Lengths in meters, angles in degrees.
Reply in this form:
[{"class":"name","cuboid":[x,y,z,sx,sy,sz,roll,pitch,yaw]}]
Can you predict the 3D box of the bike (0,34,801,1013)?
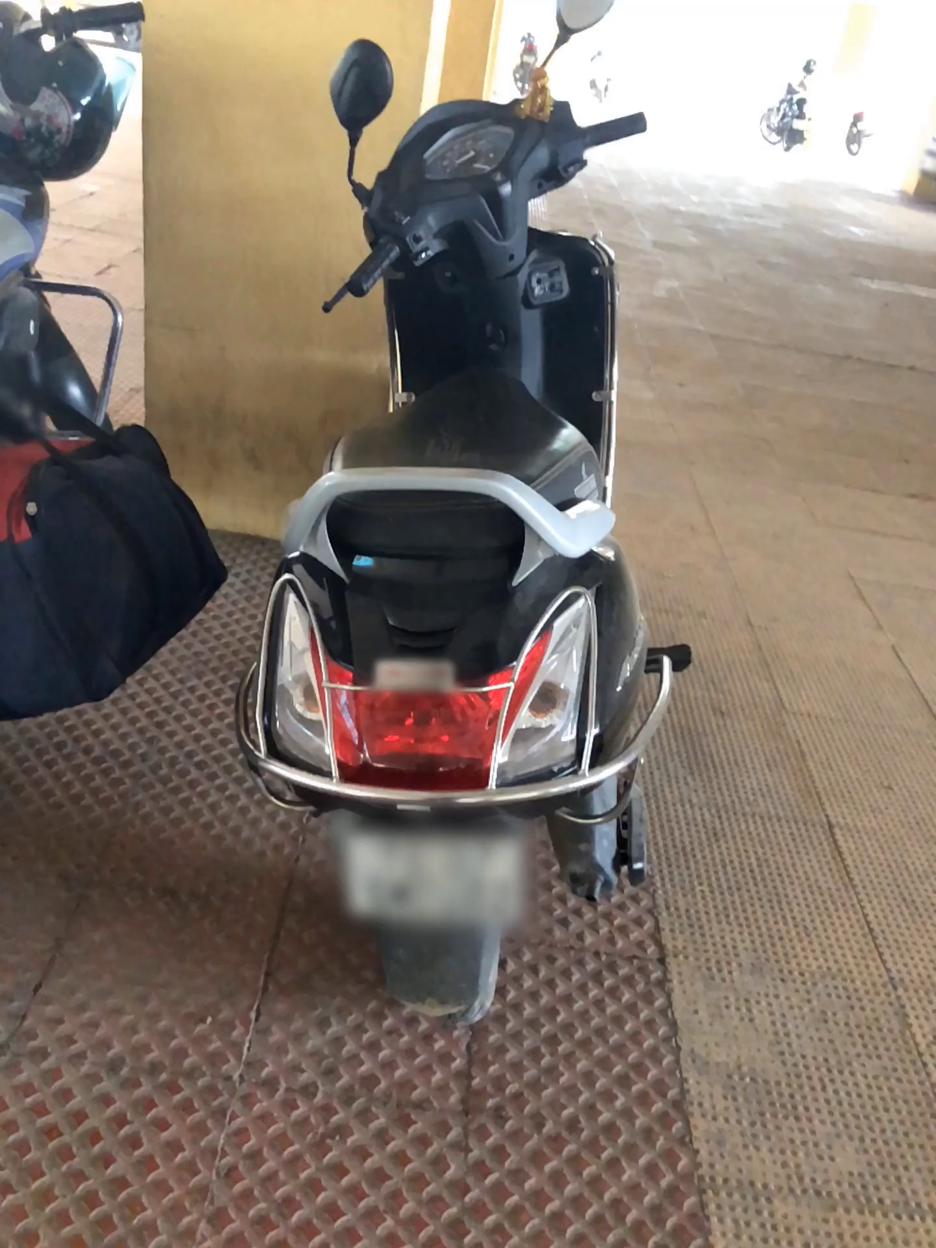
[{"class":"bike","cuboid":[-0.147,-0.397,1.711,0.621,0.882,1.668,7,31,-6]}]
